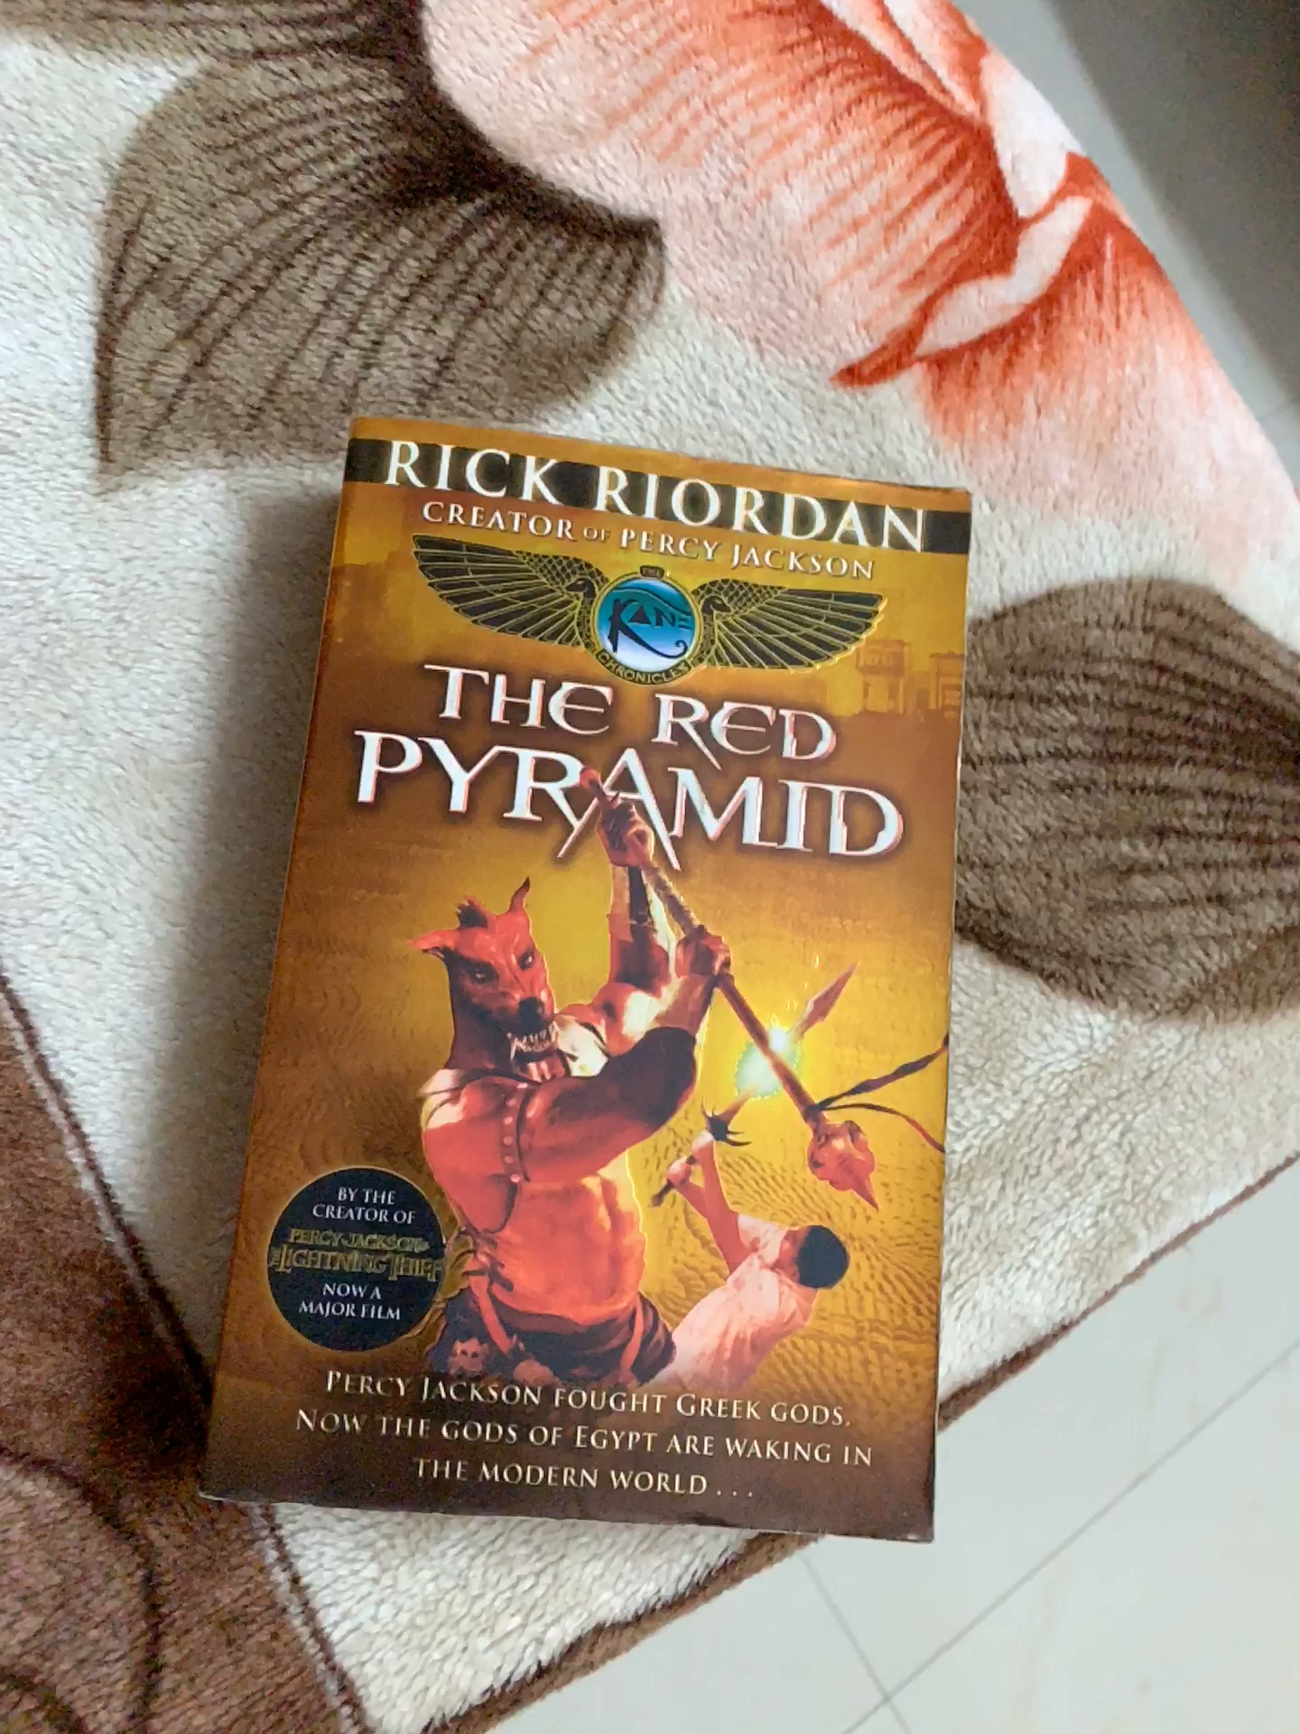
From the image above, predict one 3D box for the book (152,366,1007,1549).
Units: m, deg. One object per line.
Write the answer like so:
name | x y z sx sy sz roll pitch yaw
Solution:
book | -0.005 0.016 0.284 0.150 0.040 0.220 6 76 -9
